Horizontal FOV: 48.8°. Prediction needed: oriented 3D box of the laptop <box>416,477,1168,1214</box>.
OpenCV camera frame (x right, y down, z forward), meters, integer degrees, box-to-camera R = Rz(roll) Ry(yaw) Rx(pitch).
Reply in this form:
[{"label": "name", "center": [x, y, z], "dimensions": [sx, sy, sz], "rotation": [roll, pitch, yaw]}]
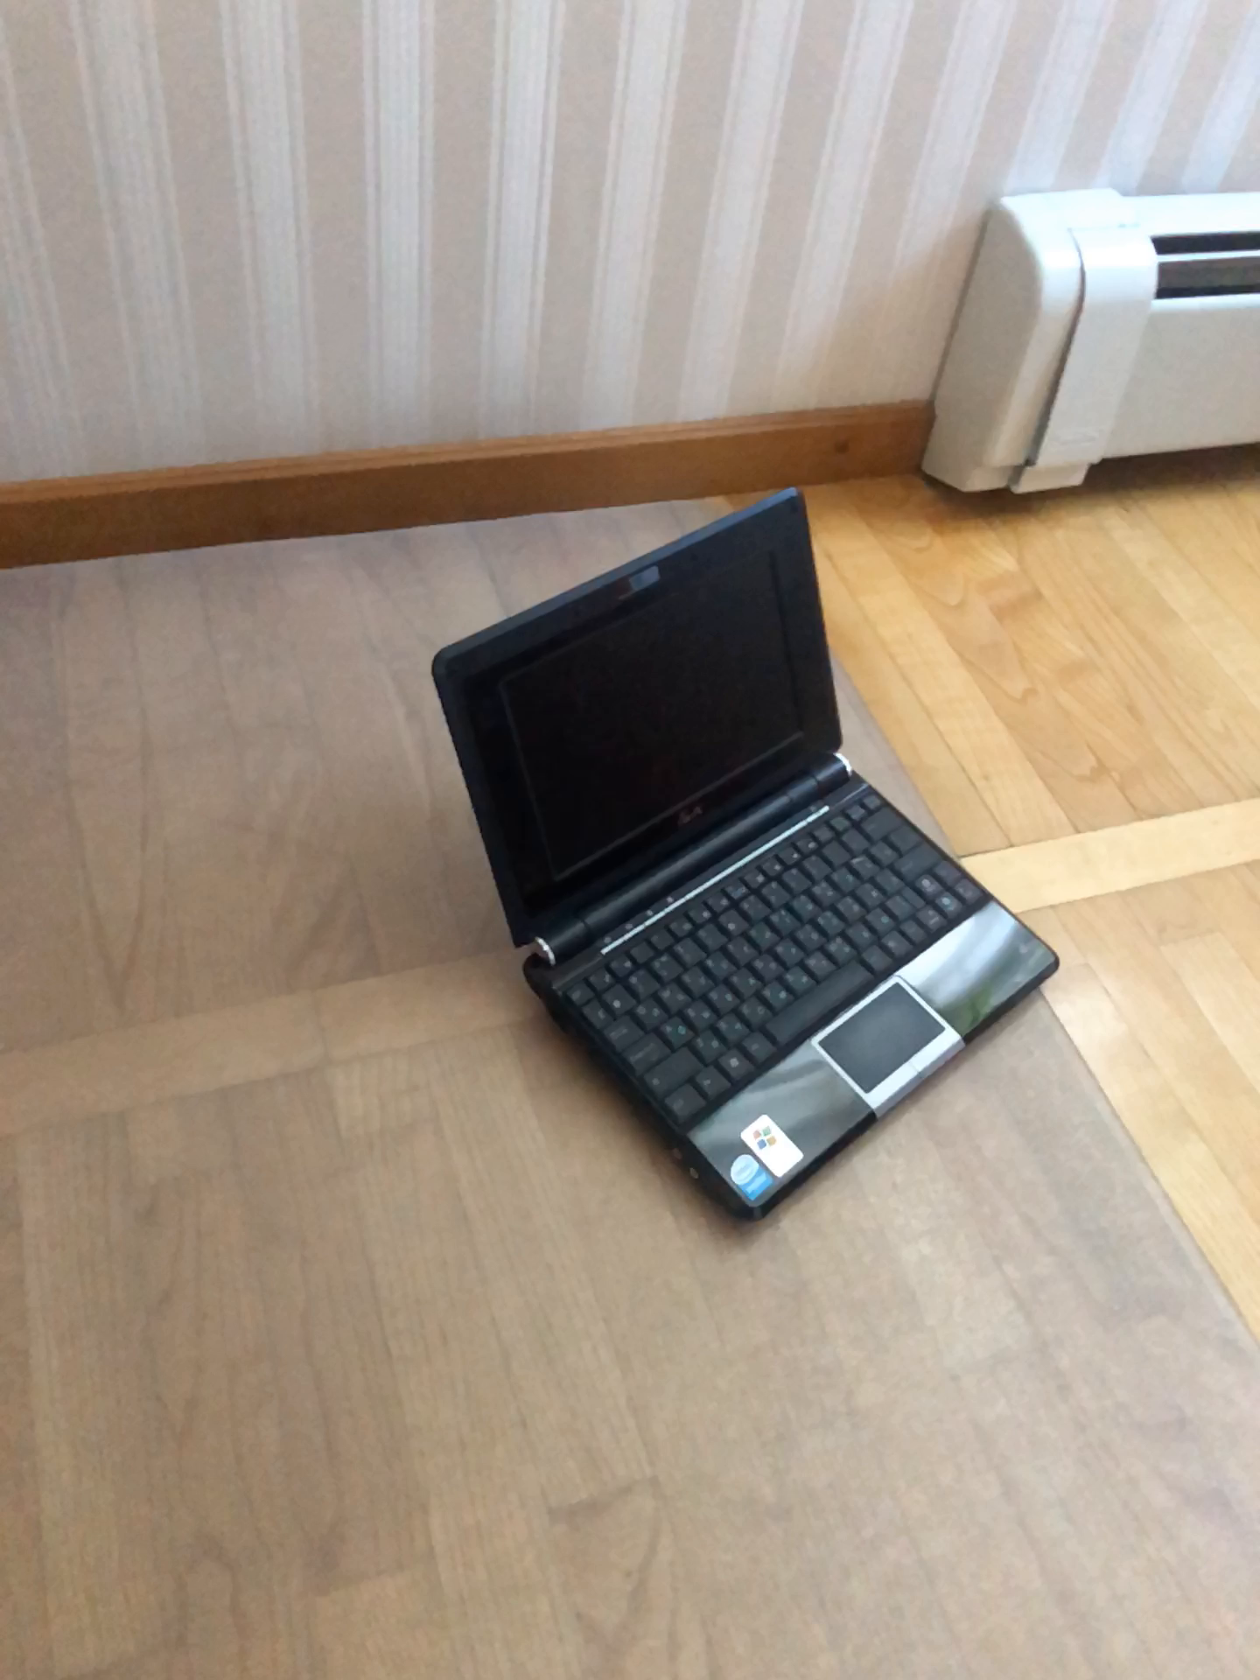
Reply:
[{"label": "laptop", "center": [0.076, -0.014, 0.753], "dimensions": [0.265, 0.159, 0.276], "rotation": [-31, 62, -31]}]
